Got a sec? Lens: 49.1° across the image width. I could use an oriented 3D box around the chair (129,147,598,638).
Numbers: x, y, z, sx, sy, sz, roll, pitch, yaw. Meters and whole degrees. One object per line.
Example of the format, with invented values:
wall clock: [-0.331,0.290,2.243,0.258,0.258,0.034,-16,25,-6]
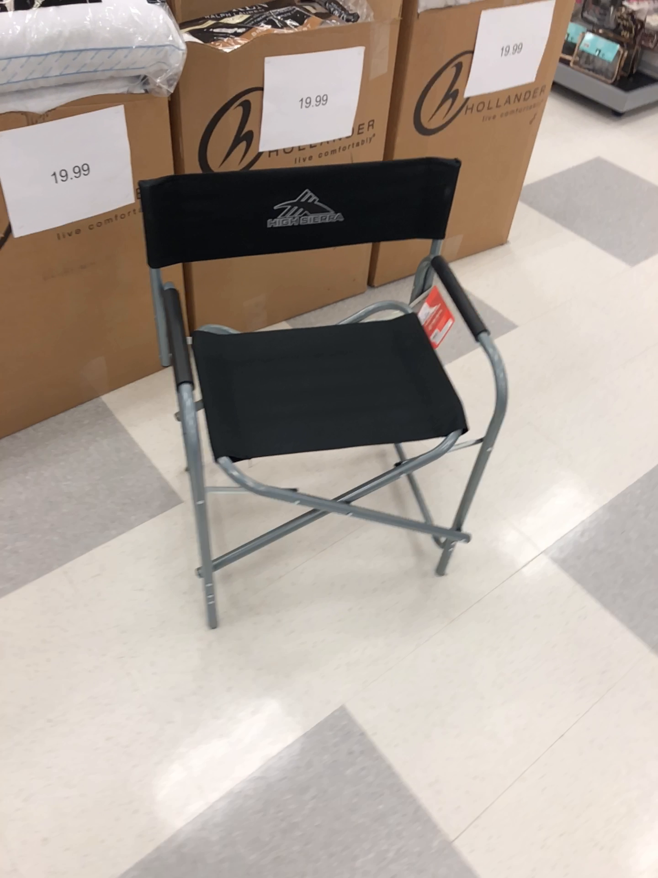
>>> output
chair: [0.001,-0.079,1.406,0.625,0.736,0.500,-9,49,-13]
